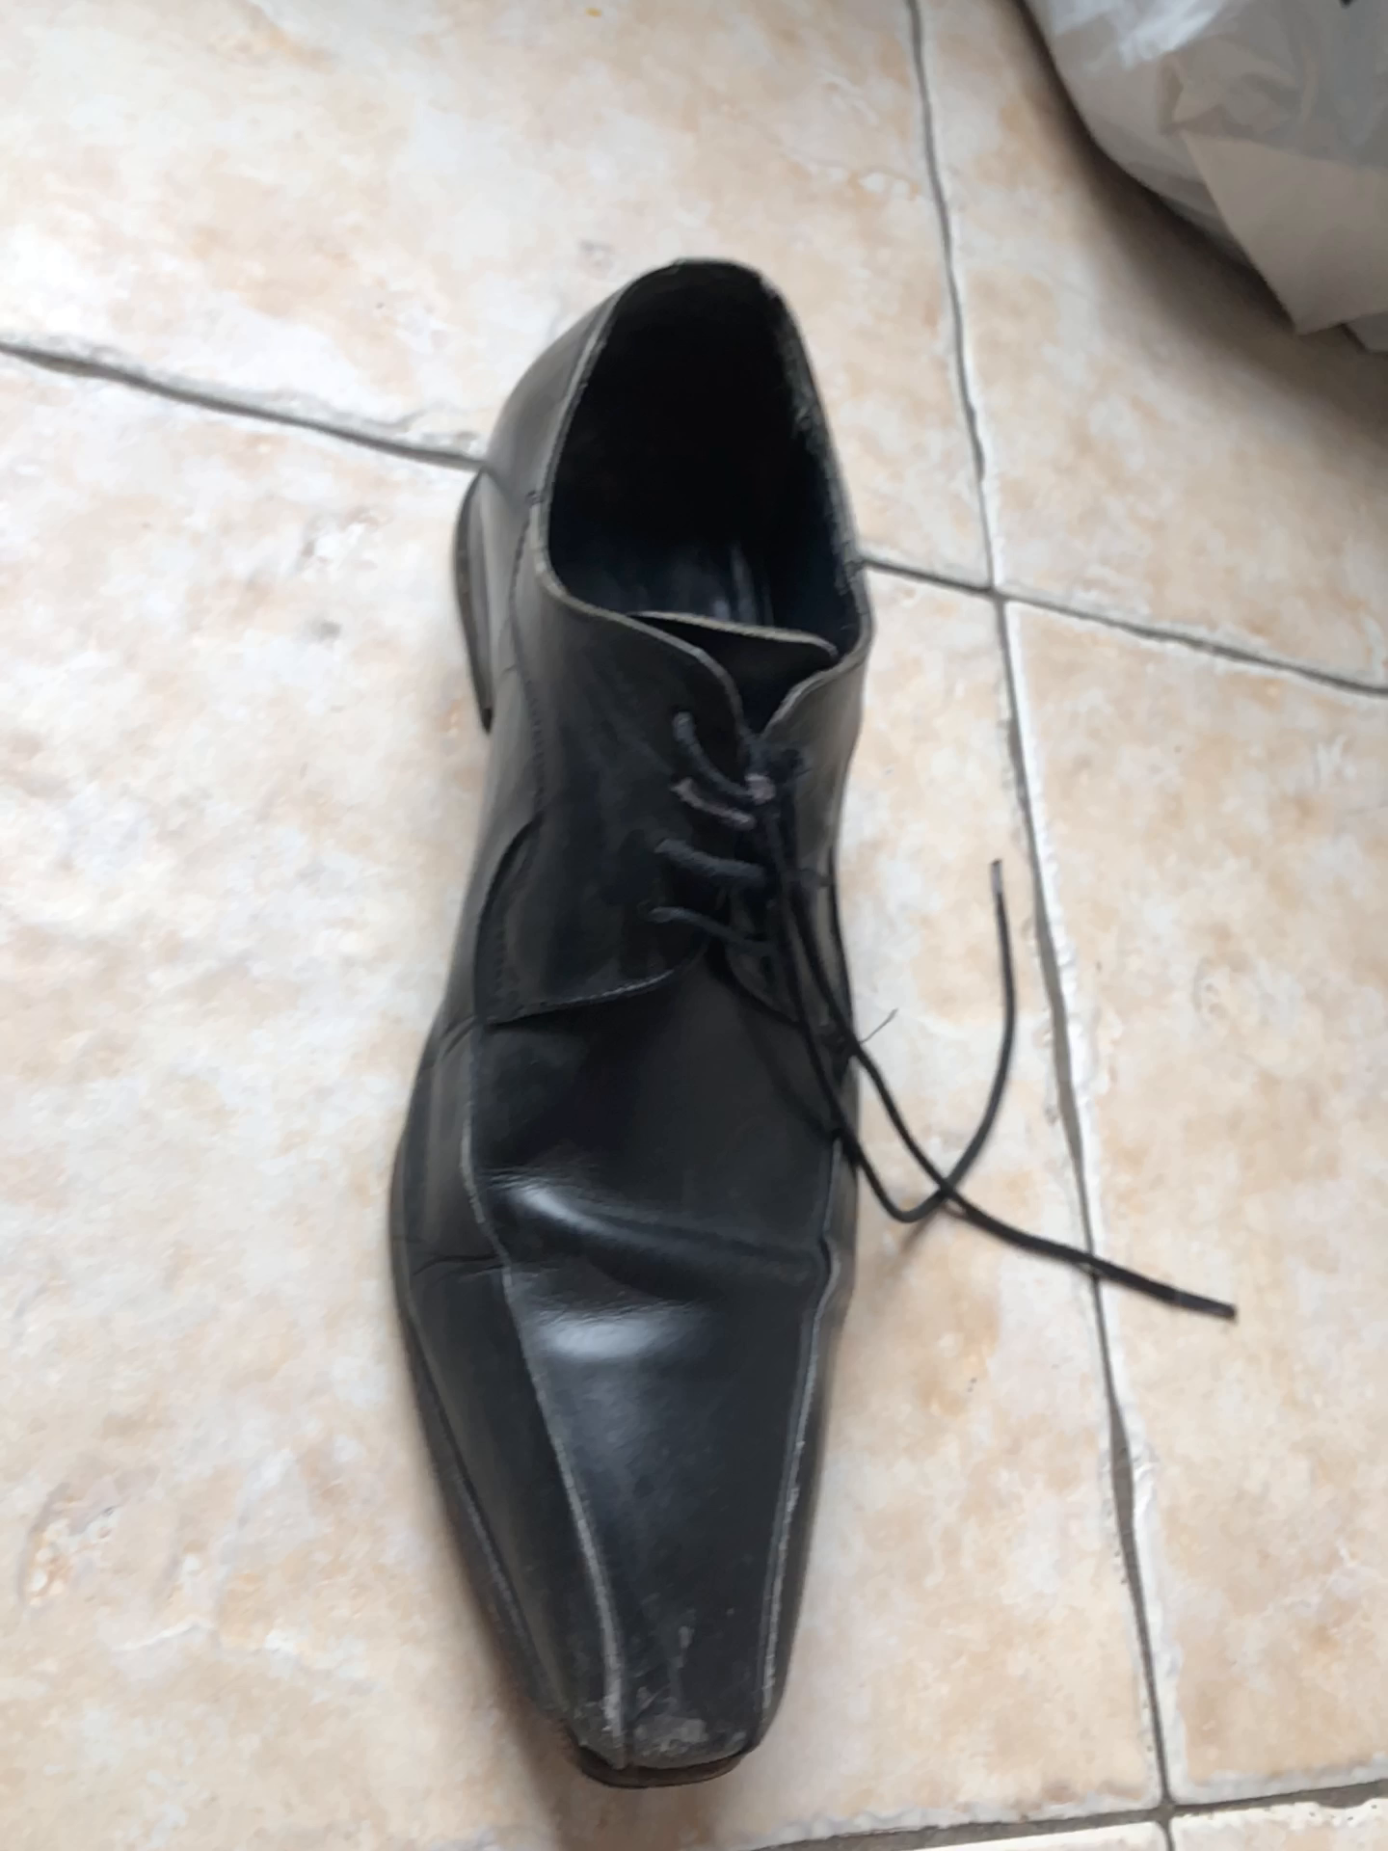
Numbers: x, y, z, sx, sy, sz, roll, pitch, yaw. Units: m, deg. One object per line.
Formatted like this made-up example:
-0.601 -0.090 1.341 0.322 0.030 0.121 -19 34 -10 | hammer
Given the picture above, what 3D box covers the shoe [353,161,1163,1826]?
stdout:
0.006 0.003 0.304 0.100 0.090 0.291 10 64 -20 | shoe
